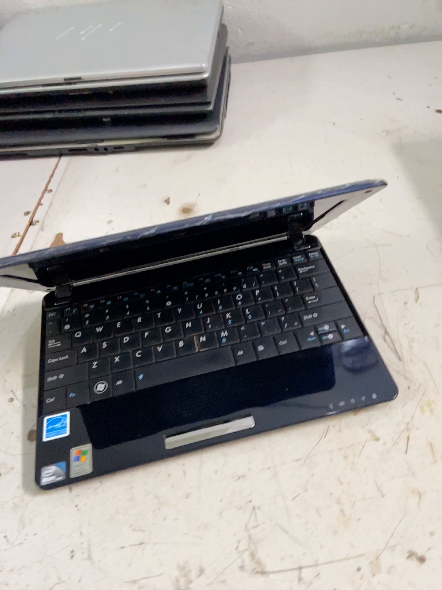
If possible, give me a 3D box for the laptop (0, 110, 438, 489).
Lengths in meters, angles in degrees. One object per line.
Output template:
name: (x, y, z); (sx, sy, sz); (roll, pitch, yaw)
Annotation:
laptop: (-0.024, -0.005, 0.326); (0.259, 0.121, 0.170); (-13, 50, -5)
